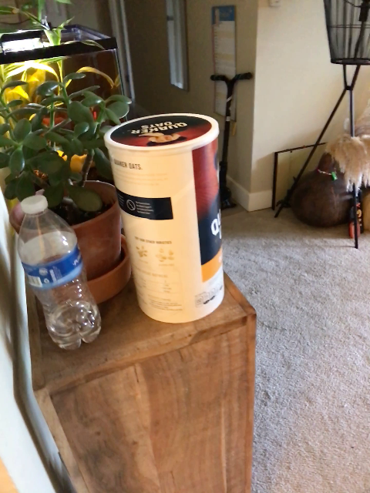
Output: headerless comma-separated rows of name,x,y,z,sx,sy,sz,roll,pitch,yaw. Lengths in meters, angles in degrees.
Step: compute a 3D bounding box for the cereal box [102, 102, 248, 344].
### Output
cereal box,-0.013,-0.030,0.502,0.140,0.248,0.141,-8,32,-7
